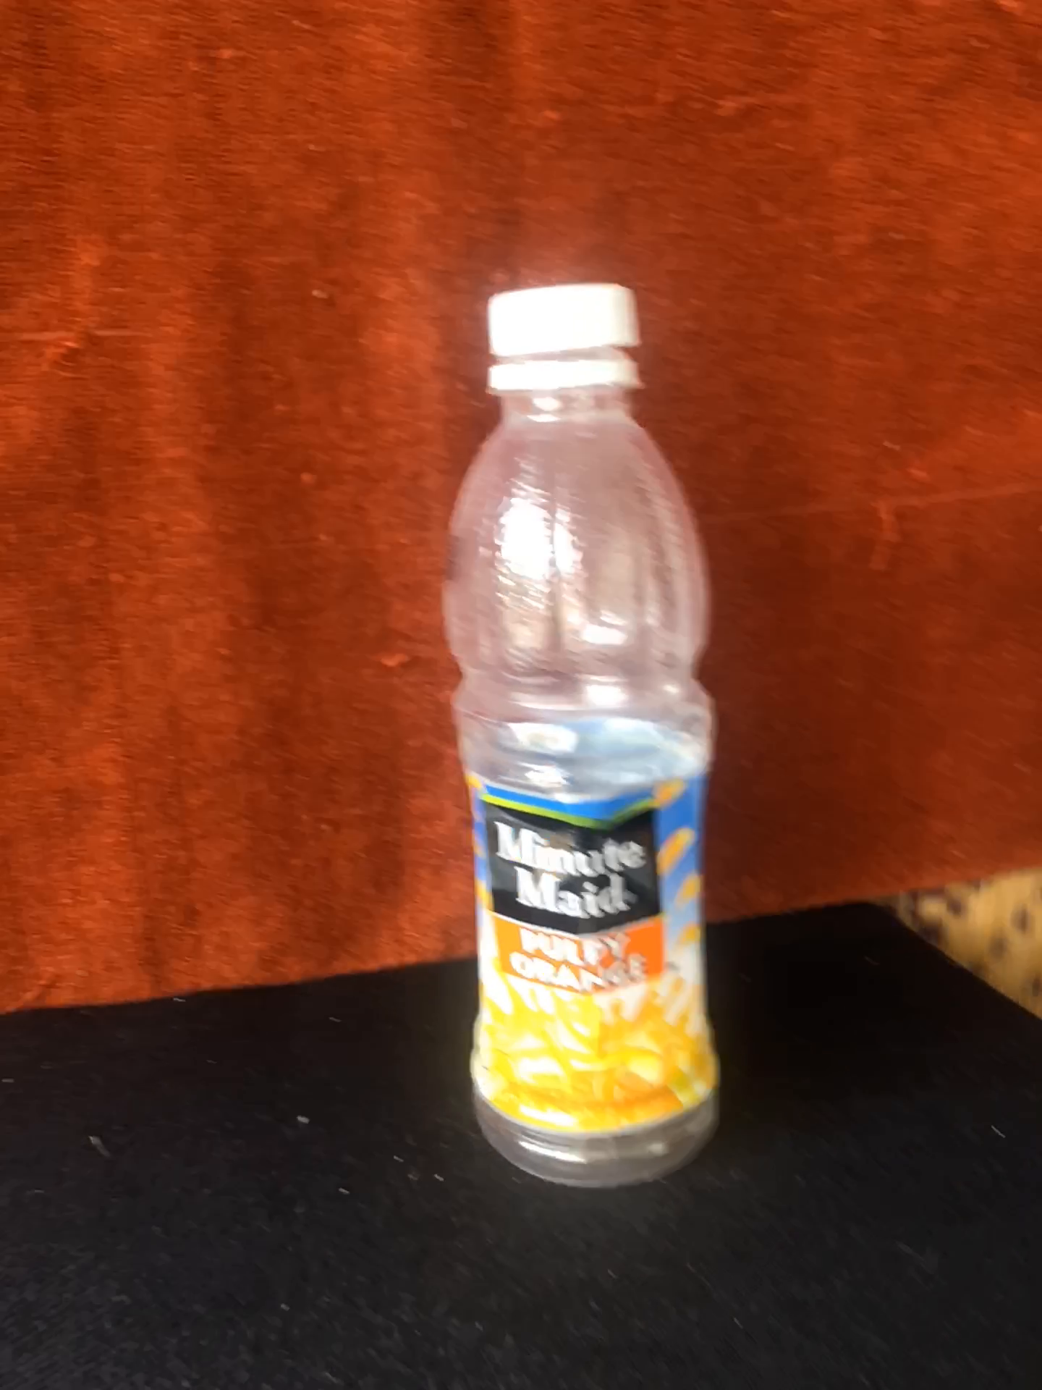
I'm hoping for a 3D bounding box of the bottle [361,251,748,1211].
[{"bbox_3d":[0.009,0.008,0.268,0.070,0.199,0.070,-1,14,0],"label":"bottle"}]
